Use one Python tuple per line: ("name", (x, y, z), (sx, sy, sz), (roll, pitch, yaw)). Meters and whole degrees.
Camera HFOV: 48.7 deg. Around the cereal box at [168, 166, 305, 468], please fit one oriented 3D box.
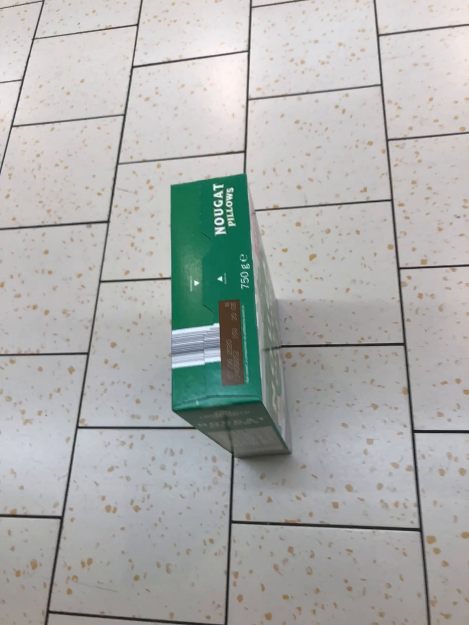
("cereal box", (0.012, 0.030, 0.505), (0.070, 0.269, 0.201), (-8, 66, 8))
